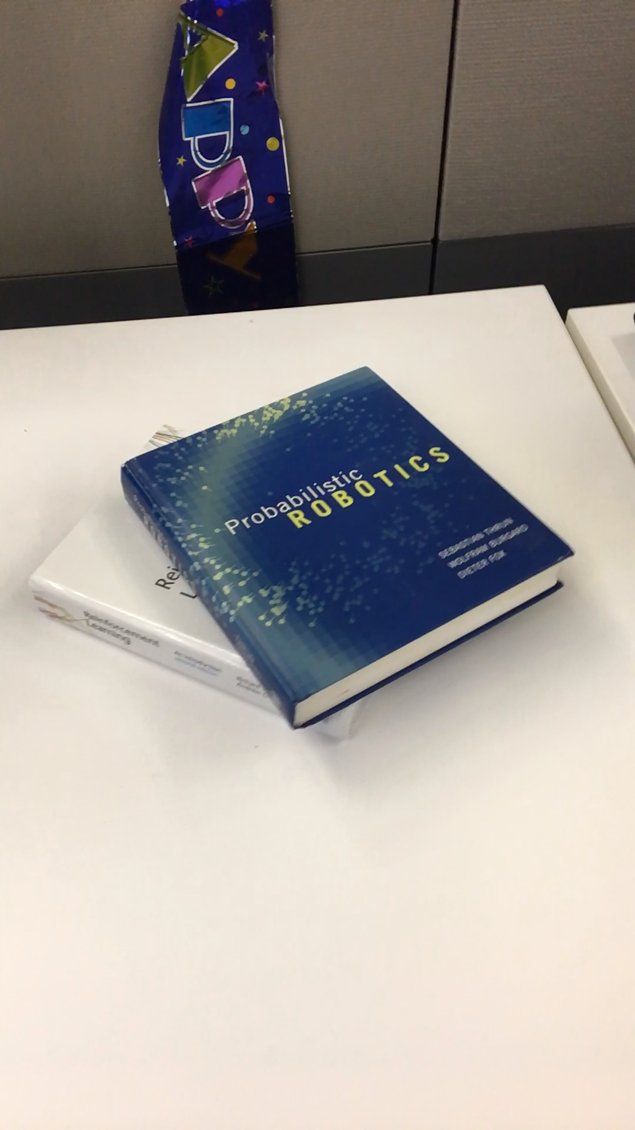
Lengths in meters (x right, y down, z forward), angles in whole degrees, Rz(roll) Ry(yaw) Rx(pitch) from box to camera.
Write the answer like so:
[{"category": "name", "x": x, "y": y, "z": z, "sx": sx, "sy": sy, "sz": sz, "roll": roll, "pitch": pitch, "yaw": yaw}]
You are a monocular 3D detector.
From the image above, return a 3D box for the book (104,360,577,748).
[{"category": "book", "x": 0.008, "y": -0.026, "z": 0.625, "sx": 0.210, "sy": 0.030, "sz": 0.240, "roll": -26, "pitch": 54, "yaw": -21}]

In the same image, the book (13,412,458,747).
[{"category": "book", "x": -0.051, "y": -0.004, "z": 0.651, "sx": 0.240, "sy": 0.030, "sz": 0.190, "roll": 20, "pitch": 52, "yaw": 17}]
